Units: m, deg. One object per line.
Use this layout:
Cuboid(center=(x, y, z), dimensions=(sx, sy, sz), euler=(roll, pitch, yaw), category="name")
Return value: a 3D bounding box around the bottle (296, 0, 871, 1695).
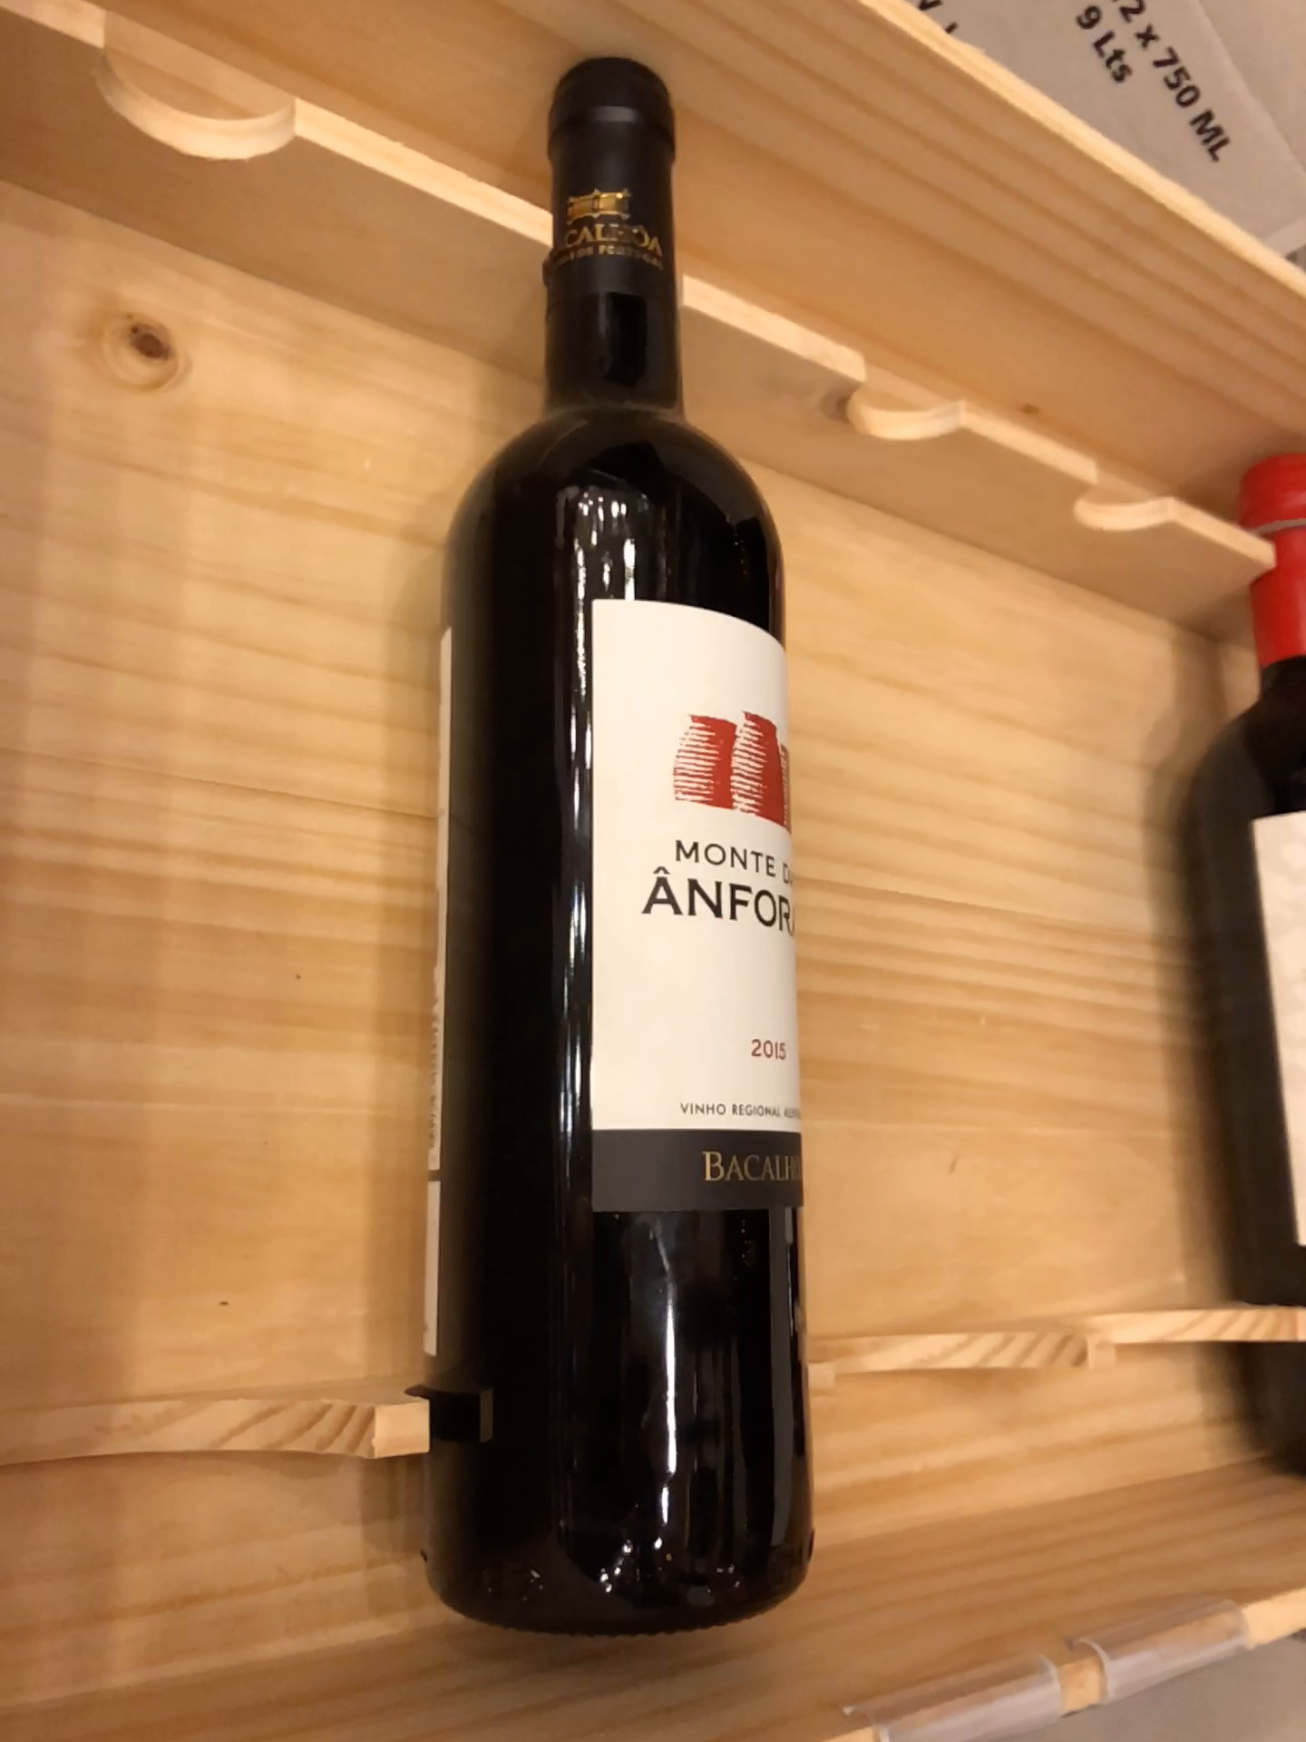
Cuboid(center=(-0.013, -0.032, 0.283), dimensions=(0.080, 0.060, 0.320), euler=(8, 77, -37), category="bottle")
